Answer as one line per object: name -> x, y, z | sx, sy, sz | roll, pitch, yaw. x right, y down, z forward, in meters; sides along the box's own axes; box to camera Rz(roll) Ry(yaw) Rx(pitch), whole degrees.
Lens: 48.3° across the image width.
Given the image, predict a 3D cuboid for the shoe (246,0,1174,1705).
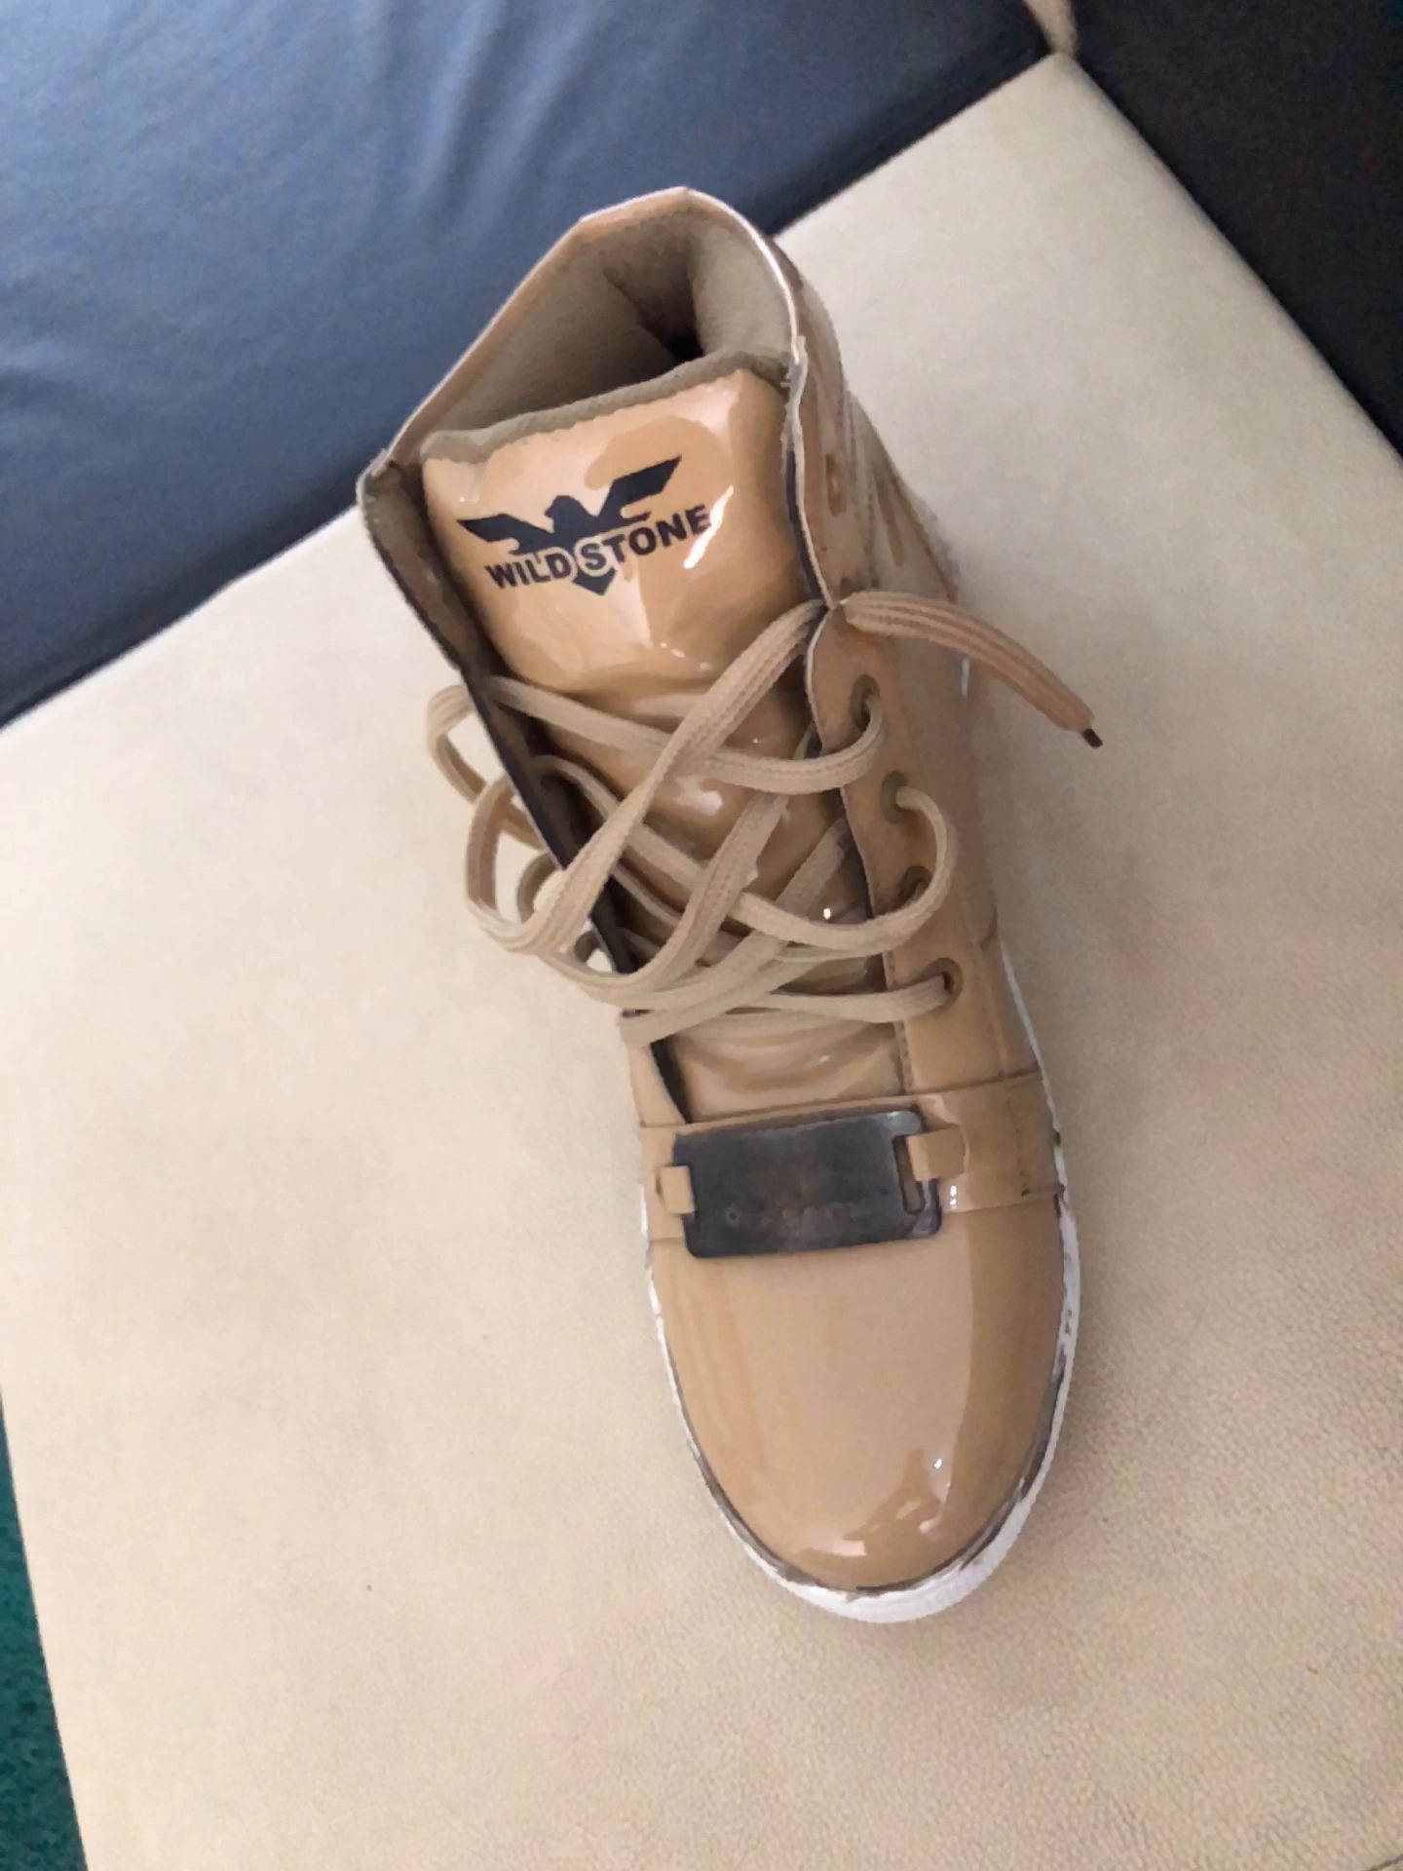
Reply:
shoe -> 0.009, -0.011, 0.312 | 0.100, 0.160, 0.280 | -12, 66, 20
